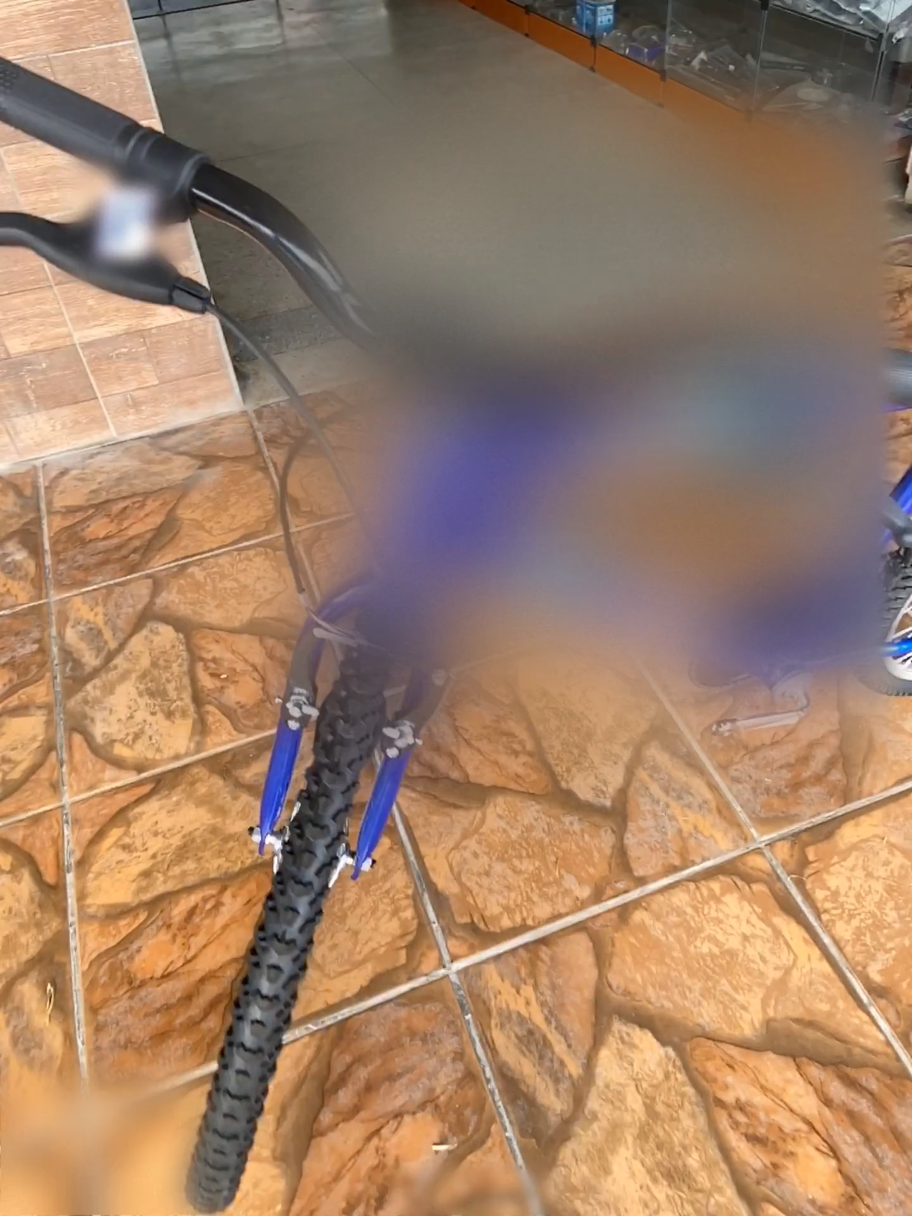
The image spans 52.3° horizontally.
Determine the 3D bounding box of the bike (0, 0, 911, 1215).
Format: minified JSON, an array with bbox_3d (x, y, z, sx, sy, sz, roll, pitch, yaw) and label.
[{"bbox_3d":[0.460,0.076,0.843,1.527,1.013,0.574,-29,48,-17],"label":"bike"}]
